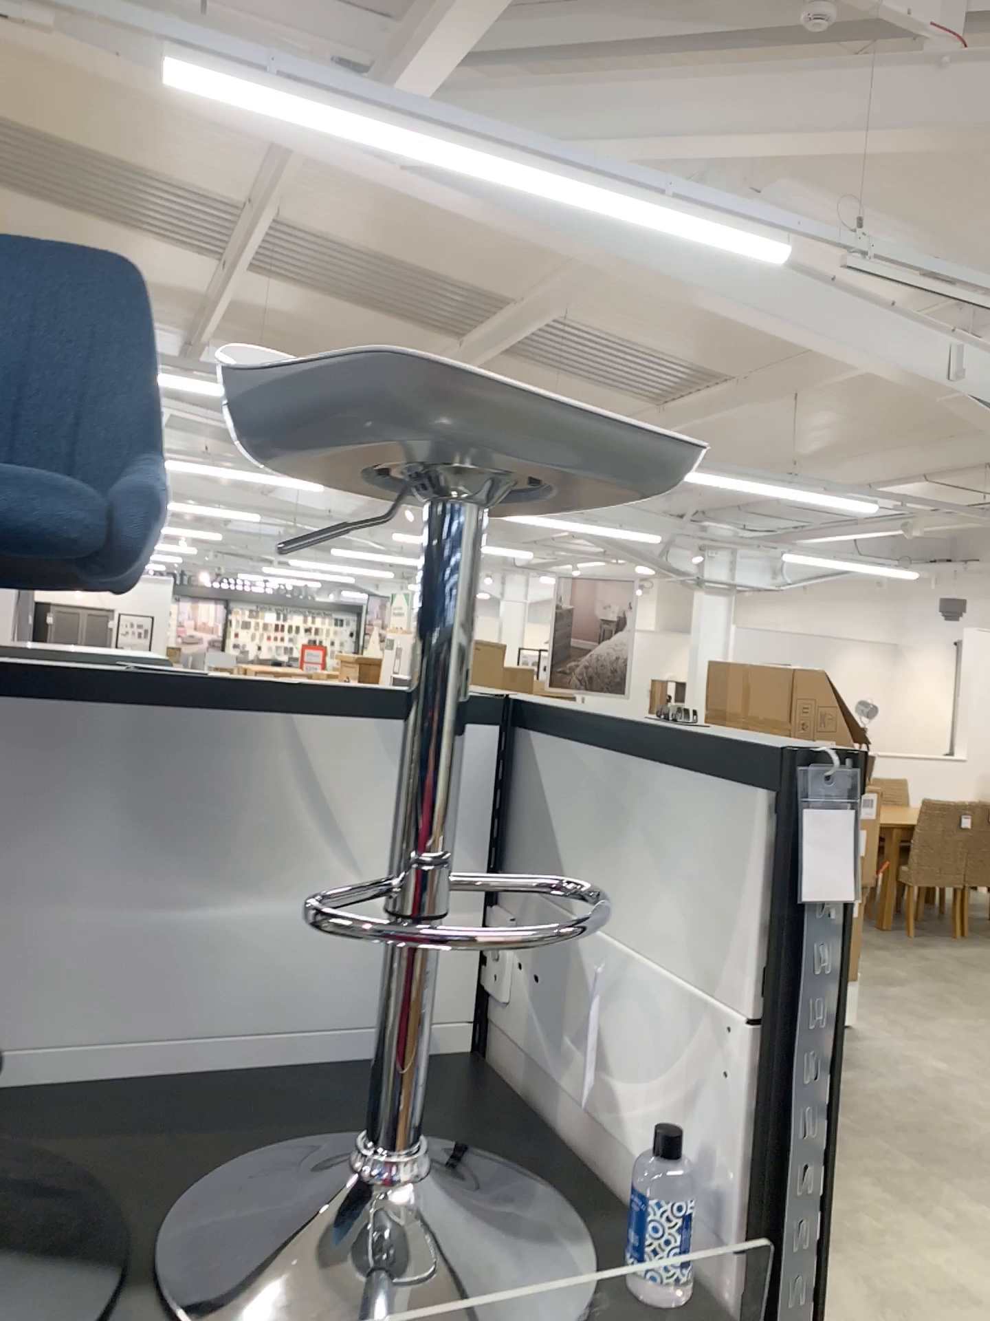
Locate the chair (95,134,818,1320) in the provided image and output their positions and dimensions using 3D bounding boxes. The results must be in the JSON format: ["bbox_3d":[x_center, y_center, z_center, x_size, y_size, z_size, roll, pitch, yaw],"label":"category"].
[{"bbox_3d":[-0.051,0.090,0.875,0.402,0.803,0.403,6,-1,-33],"label":"chair"}]

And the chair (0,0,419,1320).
[{"bbox_3d":[-0.438,0.003,0.749,0.532,0.883,0.483,6,-1,-28],"label":"chair"}]
